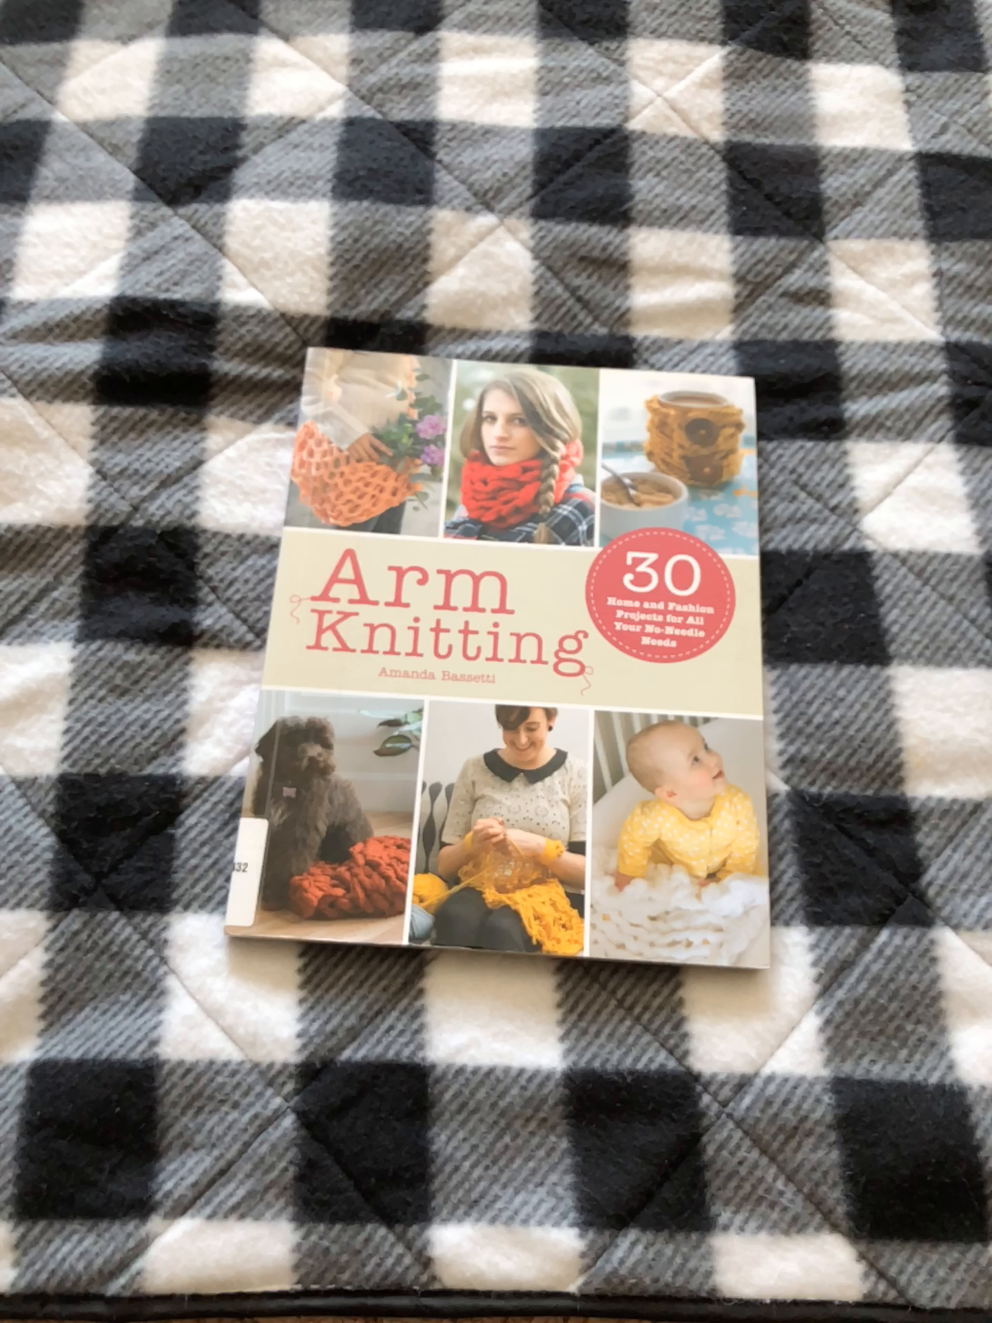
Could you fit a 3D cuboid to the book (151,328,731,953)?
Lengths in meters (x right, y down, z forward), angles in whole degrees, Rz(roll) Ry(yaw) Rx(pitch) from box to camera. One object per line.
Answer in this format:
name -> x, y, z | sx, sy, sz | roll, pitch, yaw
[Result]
book -> -0.010, -0.018, 0.424 | 0.196, 0.020, 0.238 | 4, 68, 1
